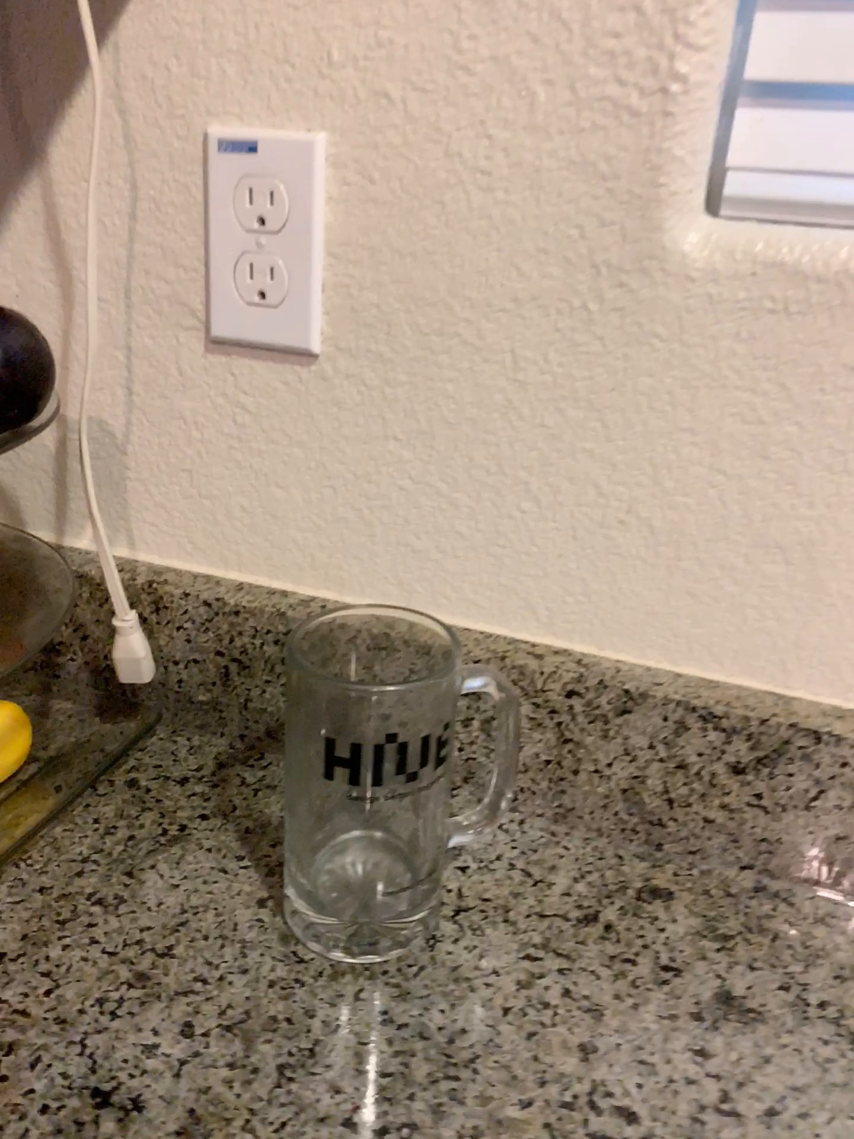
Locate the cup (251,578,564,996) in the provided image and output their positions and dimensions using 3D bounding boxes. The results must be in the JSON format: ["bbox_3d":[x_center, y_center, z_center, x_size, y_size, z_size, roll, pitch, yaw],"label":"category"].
[{"bbox_3d":[-0.016,0.099,0.429,0.120,0.159,0.081,-6,25,-23],"label":"cup"}]
